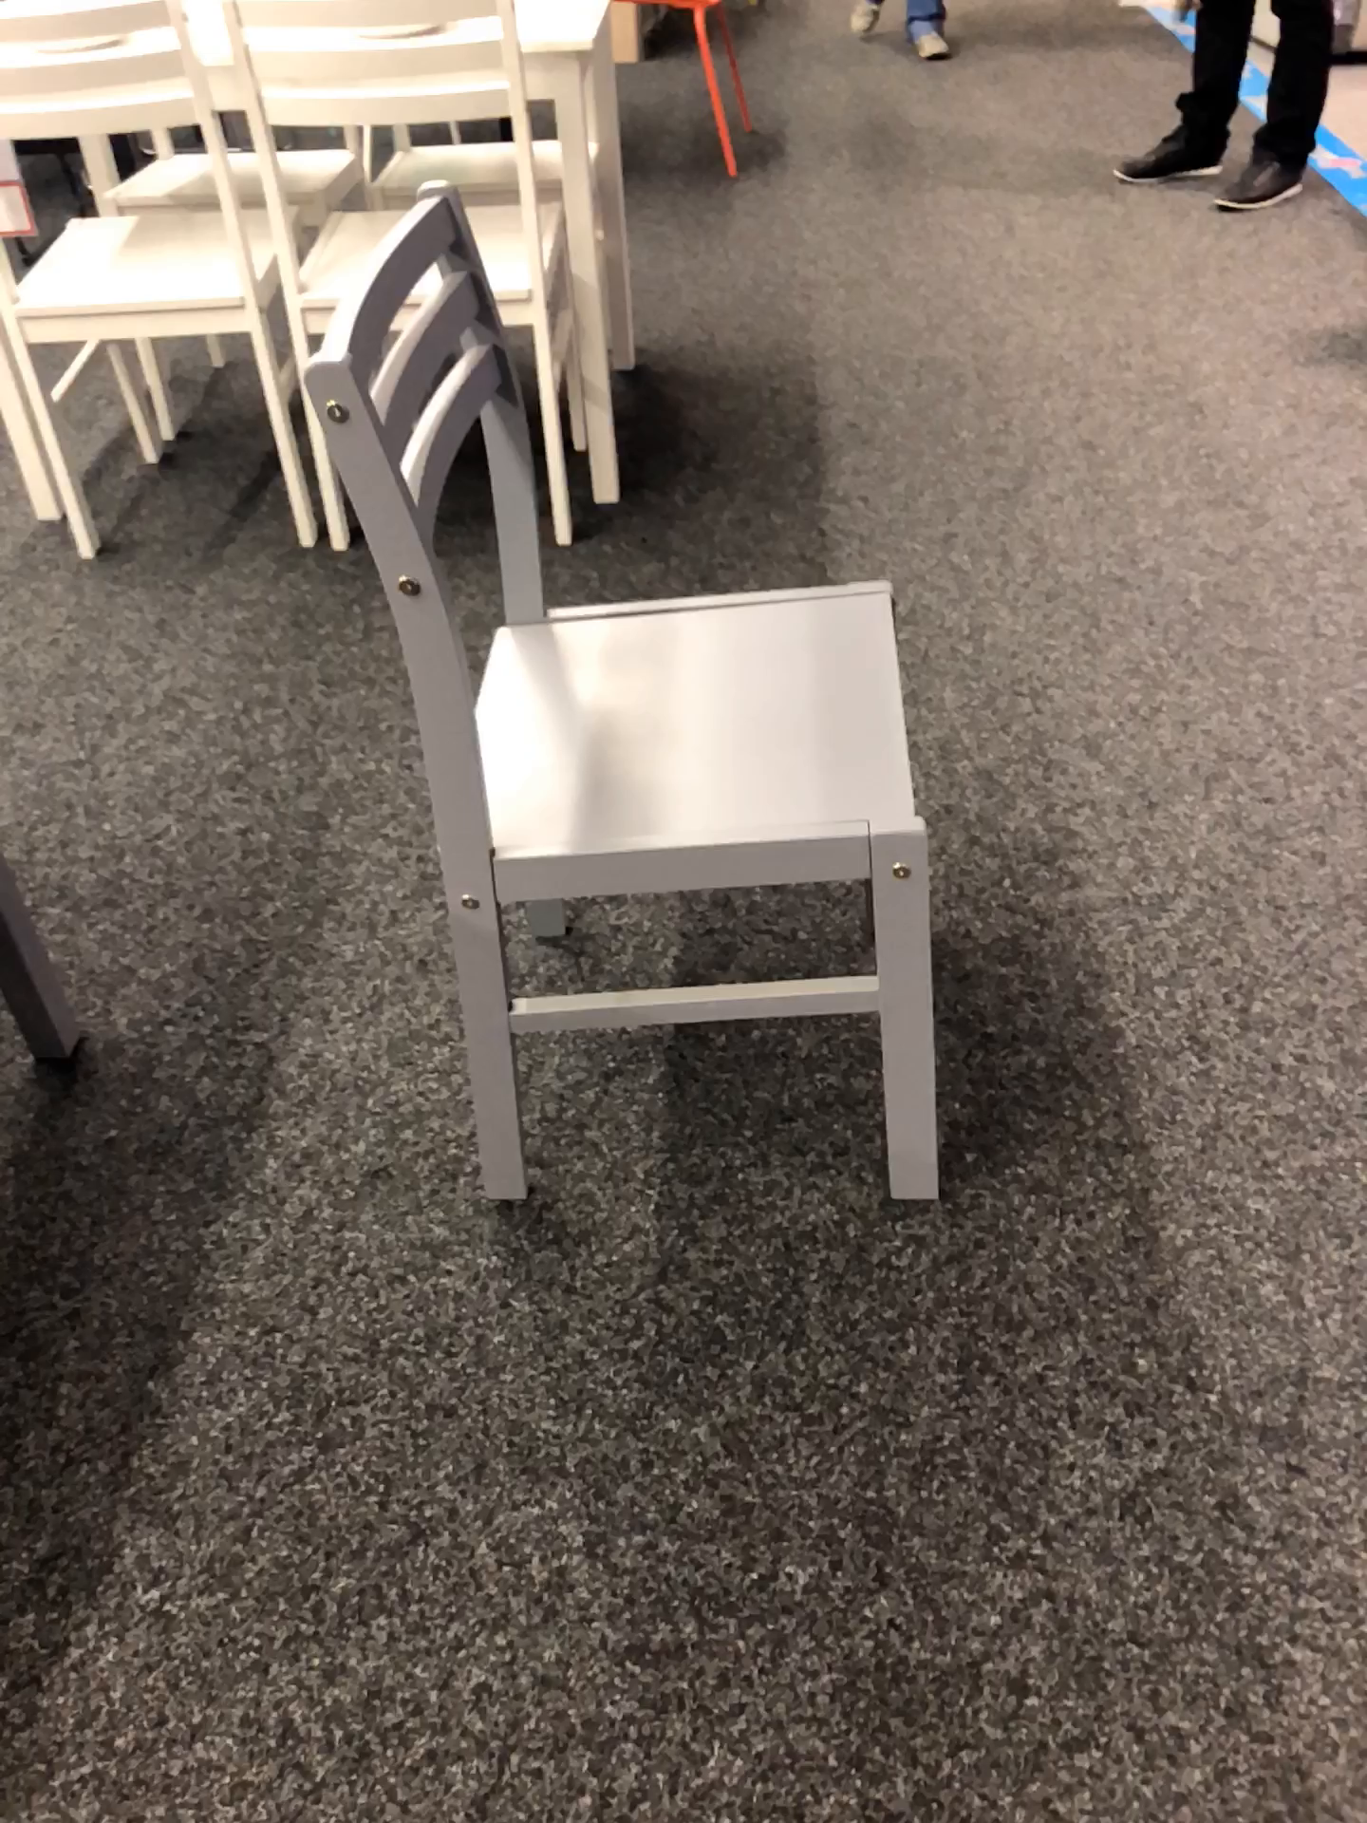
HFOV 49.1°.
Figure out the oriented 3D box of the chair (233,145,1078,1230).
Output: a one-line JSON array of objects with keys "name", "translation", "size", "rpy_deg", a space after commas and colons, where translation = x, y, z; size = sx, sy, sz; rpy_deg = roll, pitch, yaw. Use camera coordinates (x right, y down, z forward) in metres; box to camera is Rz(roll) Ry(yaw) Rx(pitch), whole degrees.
[{"name": "chair", "translation": [0.001, -0.174, 1.297], "size": [0.490, 0.766, 0.493], "rpy_deg": [-2, 39, 2]}]
